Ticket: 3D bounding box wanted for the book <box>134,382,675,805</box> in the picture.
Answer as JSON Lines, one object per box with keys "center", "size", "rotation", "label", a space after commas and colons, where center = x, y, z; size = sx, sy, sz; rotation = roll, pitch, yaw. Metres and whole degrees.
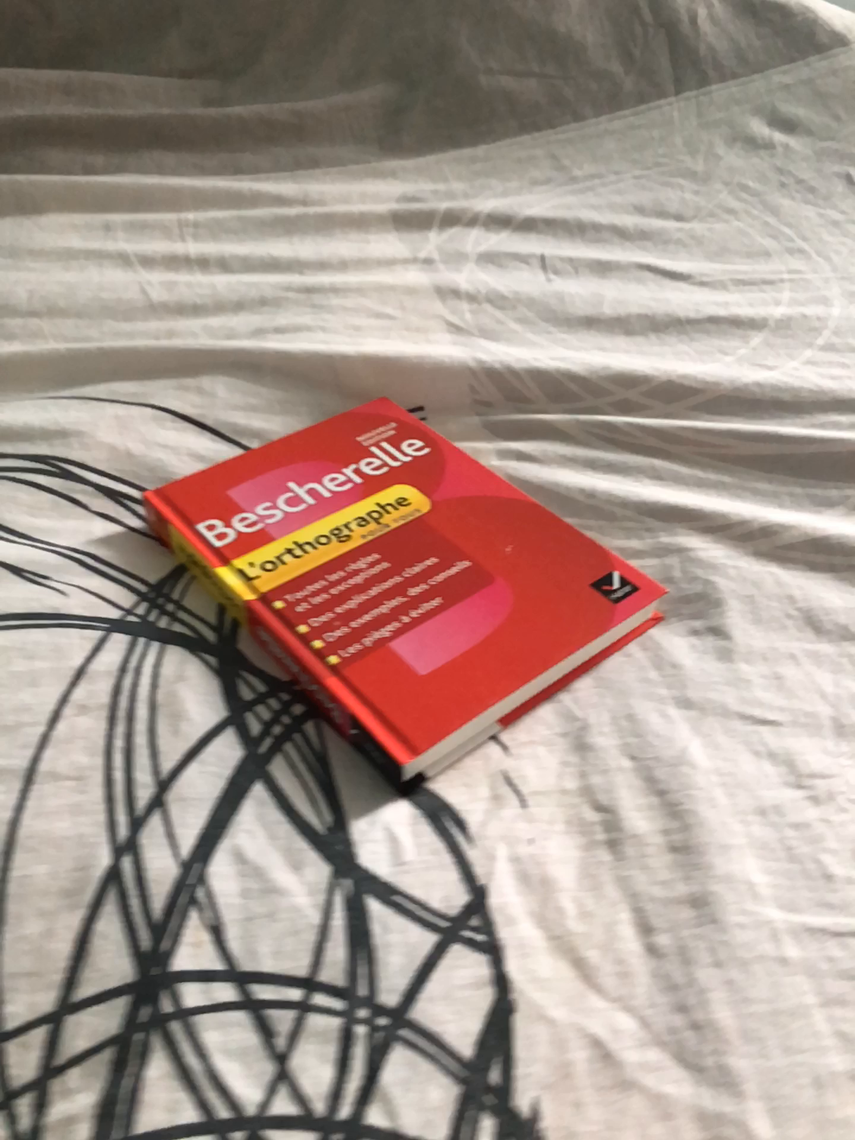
{"center": [-0.015, -0.007, 0.410], "size": [0.143, 0.023, 0.190], "rotation": [-30, 51, -28], "label": "book"}
